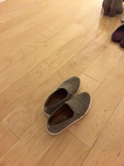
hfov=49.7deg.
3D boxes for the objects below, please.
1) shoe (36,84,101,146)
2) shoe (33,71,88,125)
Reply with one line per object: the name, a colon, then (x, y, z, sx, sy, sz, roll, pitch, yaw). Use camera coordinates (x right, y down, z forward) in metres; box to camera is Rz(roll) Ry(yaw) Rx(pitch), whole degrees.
shoe: (0.037, 0.130, 0.610, 0.281, 0.050, 0.120, -35, 58, -24)
shoe: (0.001, 0.061, 0.673, 0.110, 0.050, 0.281, 34, 59, 26)
